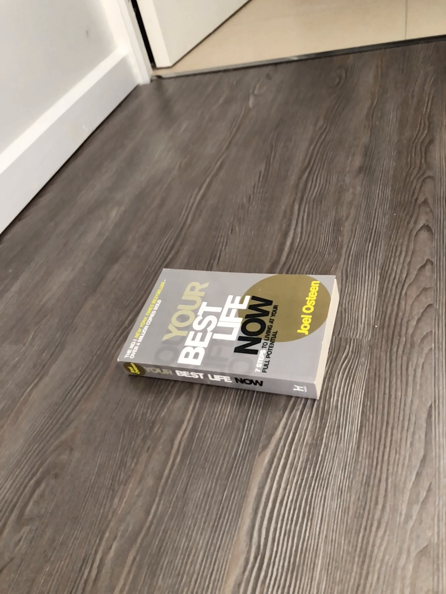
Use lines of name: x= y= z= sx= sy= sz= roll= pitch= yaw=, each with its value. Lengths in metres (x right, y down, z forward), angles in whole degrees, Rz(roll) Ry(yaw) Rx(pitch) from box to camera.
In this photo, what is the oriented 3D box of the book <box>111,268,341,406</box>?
book: x=0.008 y=0.030 z=0.497 sx=0.201 sy=0.030 sz=0.137 roll=3 pitch=46 yaw=21
